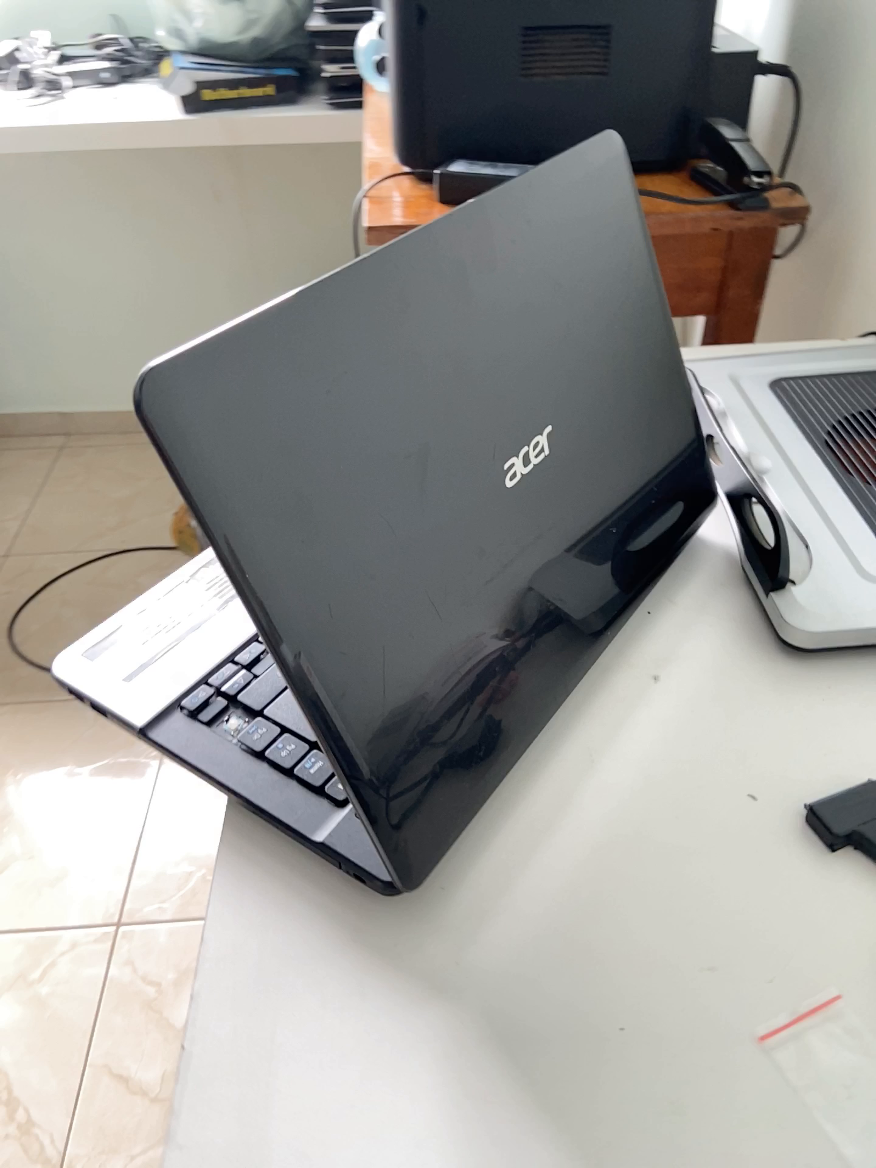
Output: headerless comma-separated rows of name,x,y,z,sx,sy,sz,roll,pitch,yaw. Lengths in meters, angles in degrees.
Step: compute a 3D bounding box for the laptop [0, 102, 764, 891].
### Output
laptop,-0.027,-0.084,0.467,0.238,0.211,0.328,23,46,27
